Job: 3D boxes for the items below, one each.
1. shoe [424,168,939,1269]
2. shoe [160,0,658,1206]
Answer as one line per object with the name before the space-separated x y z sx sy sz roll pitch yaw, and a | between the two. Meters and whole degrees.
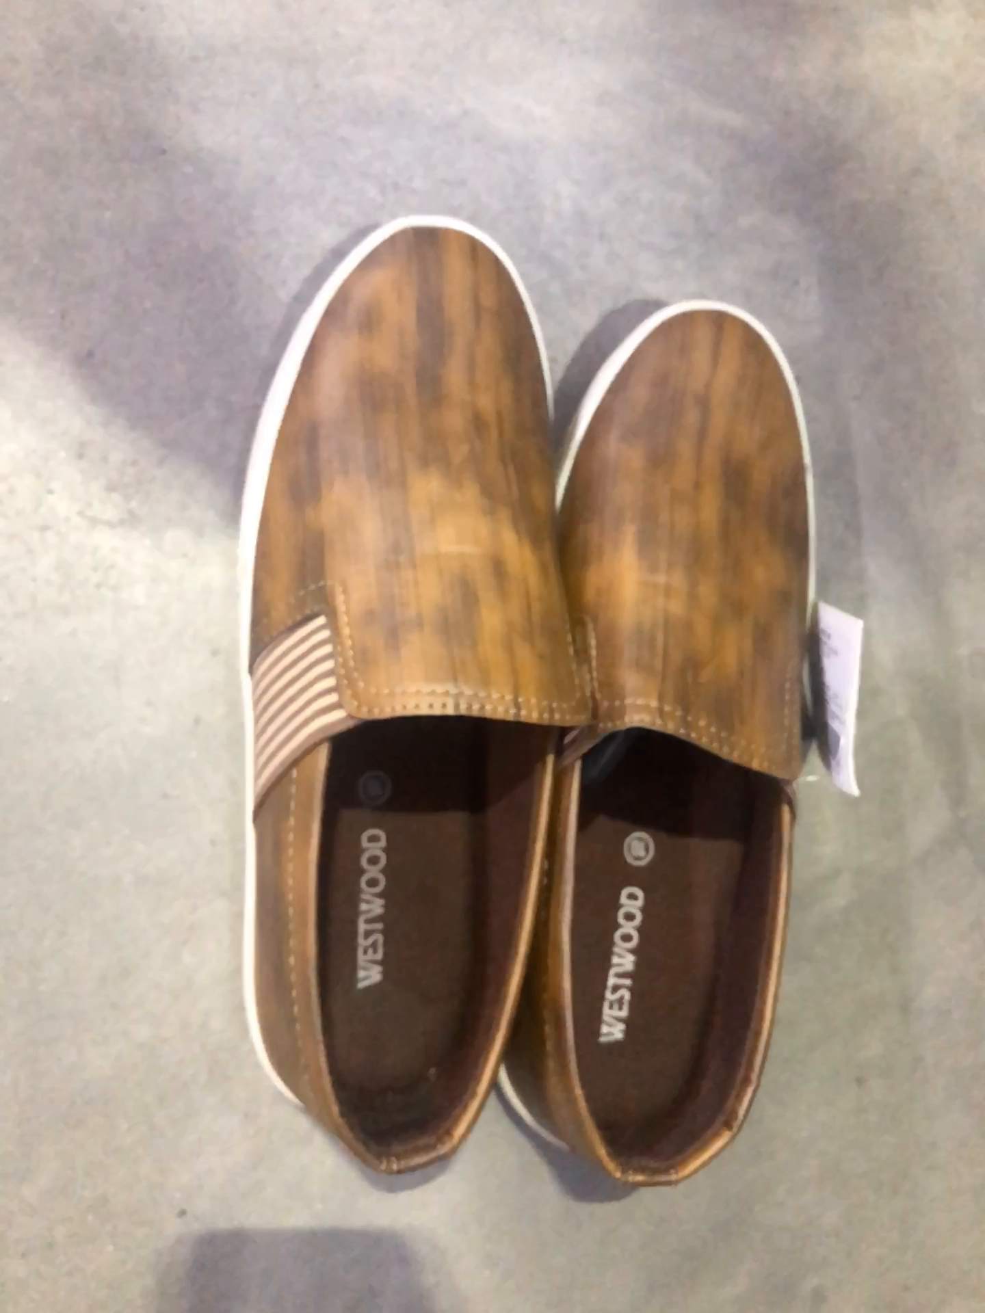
shoe | 0.061 0.017 0.372 0.110 0.100 0.310 10 80 -10
shoe | -0.023 -0.015 0.318 0.110 0.100 0.290 4 81 -11
